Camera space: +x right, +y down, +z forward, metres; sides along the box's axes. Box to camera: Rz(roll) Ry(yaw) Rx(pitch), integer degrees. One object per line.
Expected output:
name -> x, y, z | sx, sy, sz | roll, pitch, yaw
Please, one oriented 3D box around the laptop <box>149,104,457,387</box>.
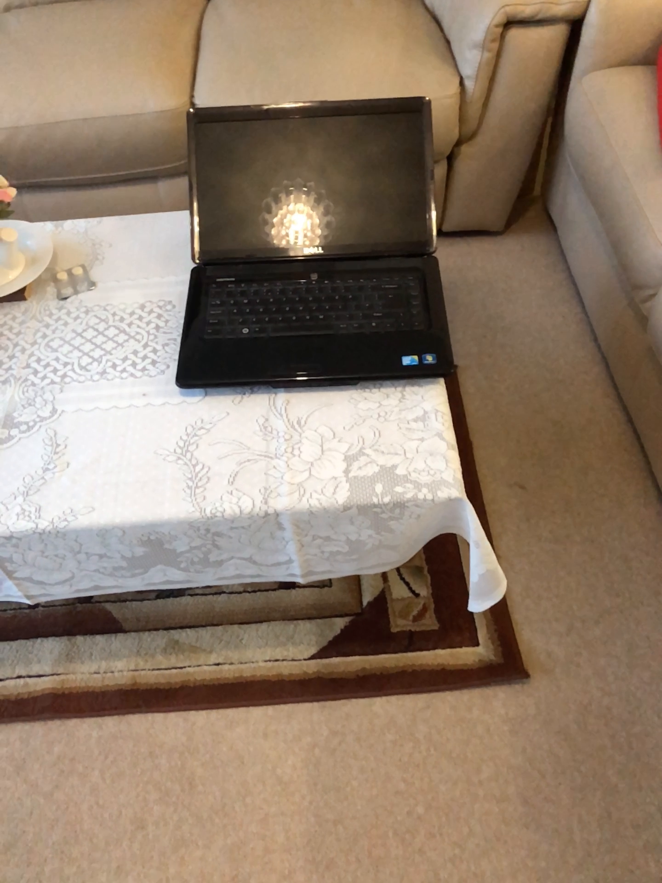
laptop -> -0.038, -0.288, 1.018 | 0.363, 0.122, 0.420 | -3, 56, 1
